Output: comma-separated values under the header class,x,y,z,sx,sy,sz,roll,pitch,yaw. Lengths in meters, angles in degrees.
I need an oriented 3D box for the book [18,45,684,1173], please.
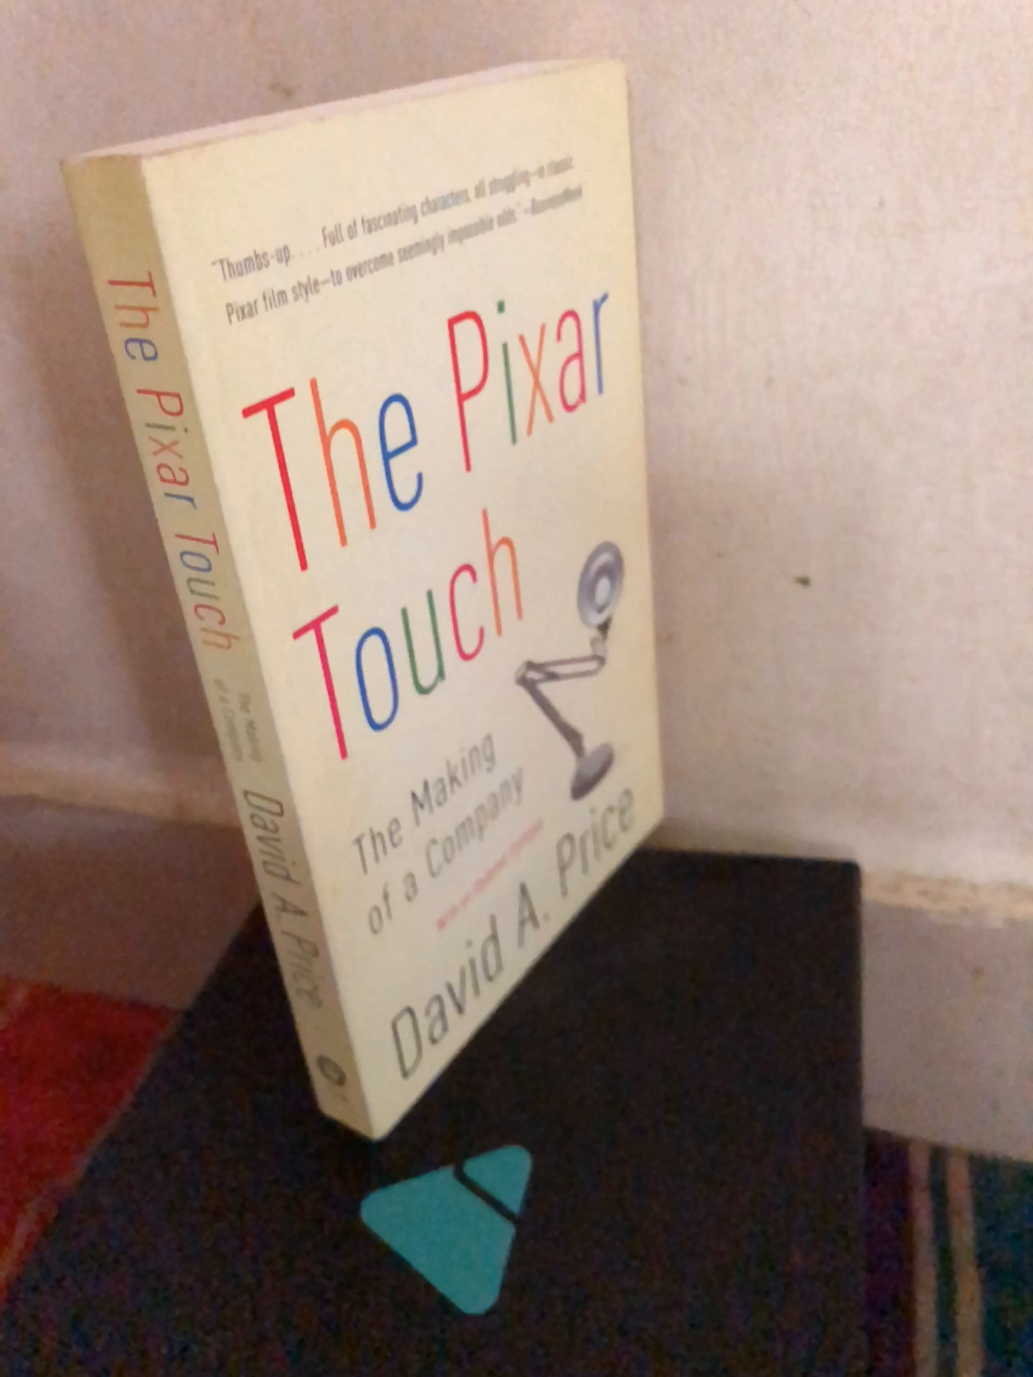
class,x,y,z,sx,sy,sz,roll,pitch,yaw
book,-0.010,-0.020,0.253,0.030,0.199,0.140,14,35,31
